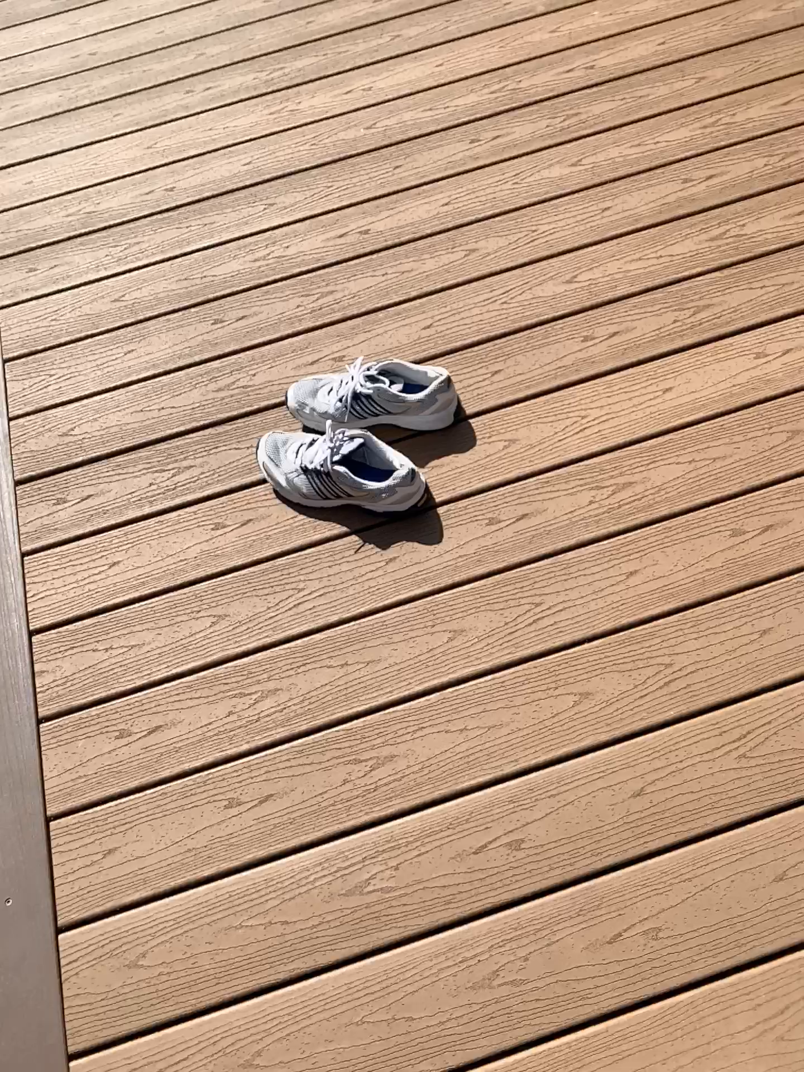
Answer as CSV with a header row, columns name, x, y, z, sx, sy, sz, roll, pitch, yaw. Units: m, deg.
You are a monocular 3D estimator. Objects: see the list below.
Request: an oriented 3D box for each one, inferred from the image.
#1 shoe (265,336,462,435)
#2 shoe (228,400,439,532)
name,x,y,z,sx,sy,sz,roll,pitch,yaw
shoe,-0.056,-0.244,1.338,0.300,0.100,0.120,1,62,7
shoe,-0.101,-0.110,1.271,0.290,0.100,0.120,11,63,13
